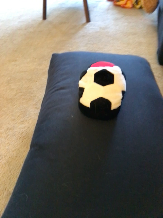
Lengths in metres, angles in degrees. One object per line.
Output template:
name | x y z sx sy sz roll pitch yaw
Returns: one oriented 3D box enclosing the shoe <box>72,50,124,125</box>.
shoe | 0.053 -0.068 0.463 0.108 0.072 0.214 5 44 9
